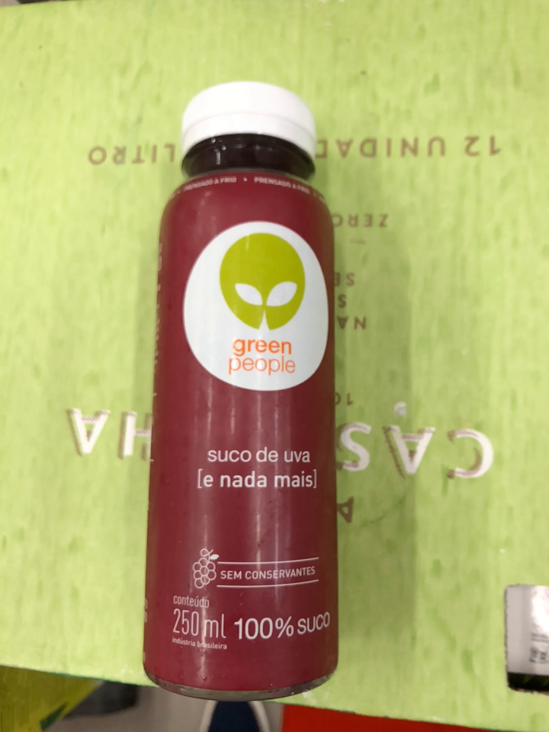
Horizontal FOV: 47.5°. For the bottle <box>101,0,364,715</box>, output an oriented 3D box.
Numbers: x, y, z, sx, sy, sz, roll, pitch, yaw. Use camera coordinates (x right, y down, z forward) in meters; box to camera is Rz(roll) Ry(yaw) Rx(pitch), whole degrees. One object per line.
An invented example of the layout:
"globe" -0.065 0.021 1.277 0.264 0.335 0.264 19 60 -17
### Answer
"bottle" -0.014 -0.004 0.181 0.060 0.060 0.170 3 82 -14
